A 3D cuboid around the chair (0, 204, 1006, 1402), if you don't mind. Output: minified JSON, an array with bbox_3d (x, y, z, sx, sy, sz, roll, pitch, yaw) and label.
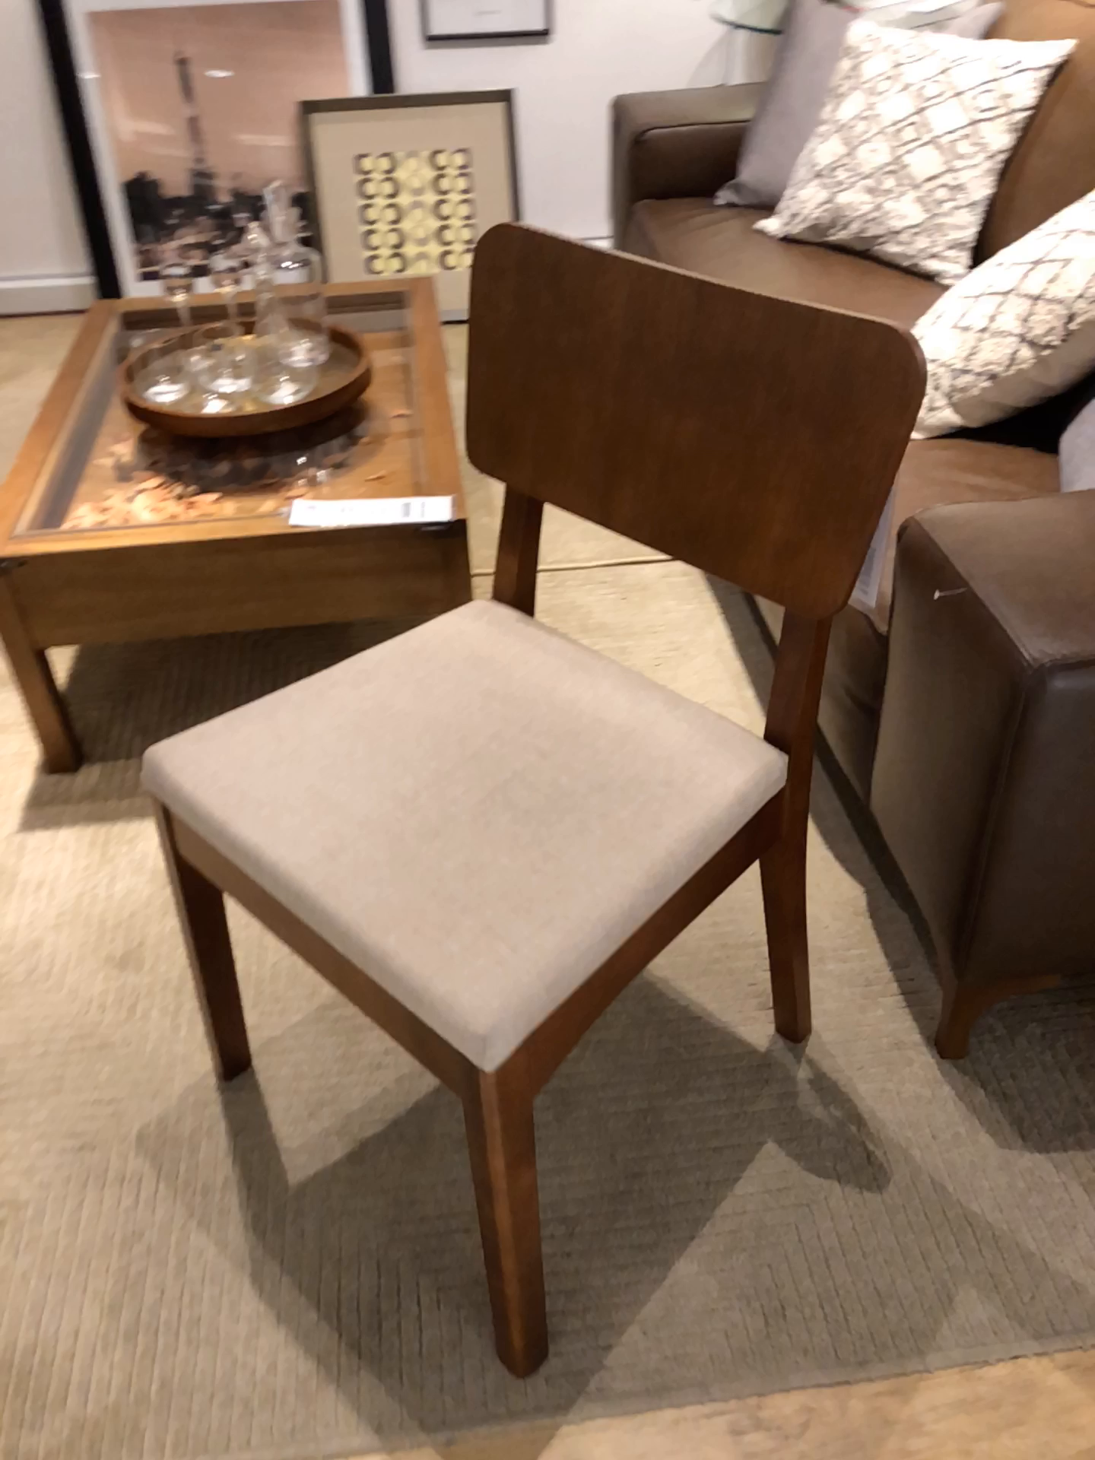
[{"bbox_3d":[-0.032,0.045,1.094,0.512,0.794,0.532,30,49,34],"label":"chair"}]
